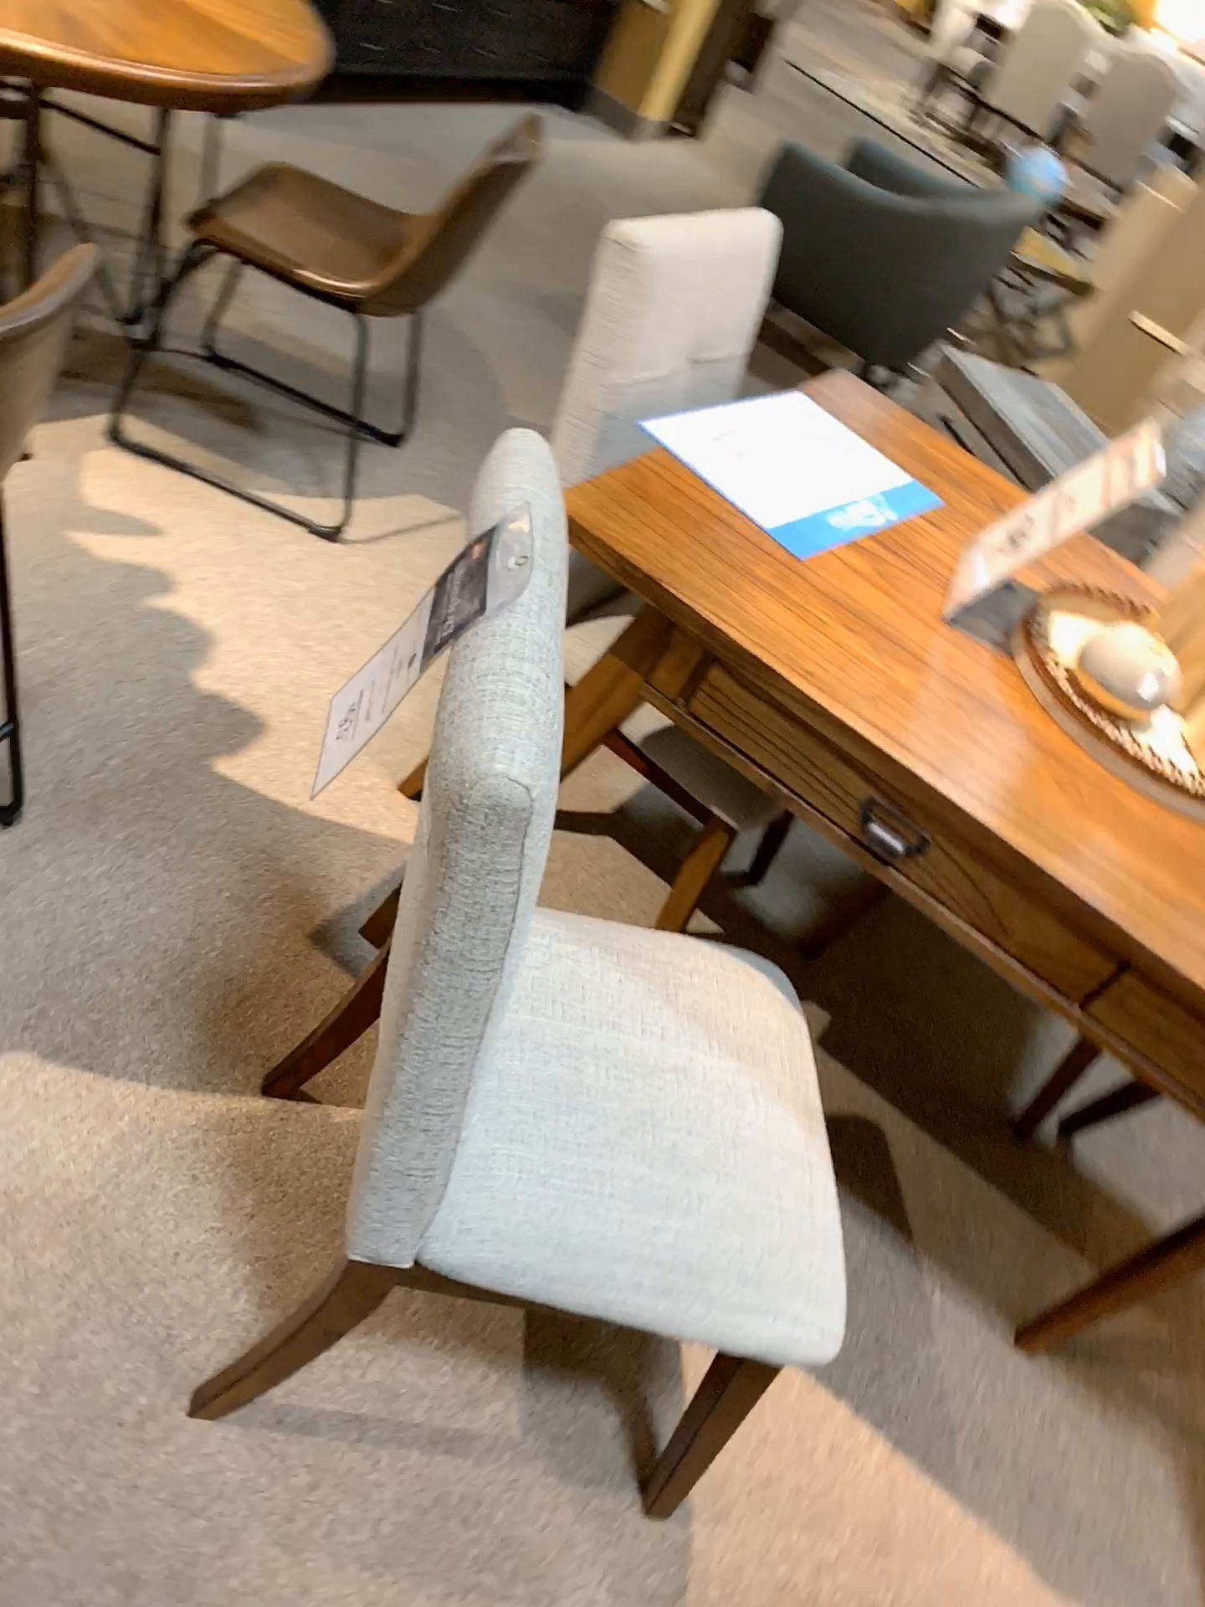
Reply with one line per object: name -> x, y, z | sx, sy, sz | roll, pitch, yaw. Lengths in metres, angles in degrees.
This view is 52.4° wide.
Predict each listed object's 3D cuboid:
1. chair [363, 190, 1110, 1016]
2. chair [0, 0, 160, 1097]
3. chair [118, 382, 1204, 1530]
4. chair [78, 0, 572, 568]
chair -> 0.154, -0.283, 1.796 | 0.597, 0.912, 0.517 | 37, 39, 10
chair -> -0.900, -0.238, 1.209 | 0.567, 0.793, 0.497 | 30, 39, -2
chair -> 0.003, 0.230, 1.158 | 0.627, 0.912, 0.486 | 18, 40, -14
chair -> -0.513, -0.983, 2.271 | 0.597, 0.743, 0.527 | 23, 39, -8
